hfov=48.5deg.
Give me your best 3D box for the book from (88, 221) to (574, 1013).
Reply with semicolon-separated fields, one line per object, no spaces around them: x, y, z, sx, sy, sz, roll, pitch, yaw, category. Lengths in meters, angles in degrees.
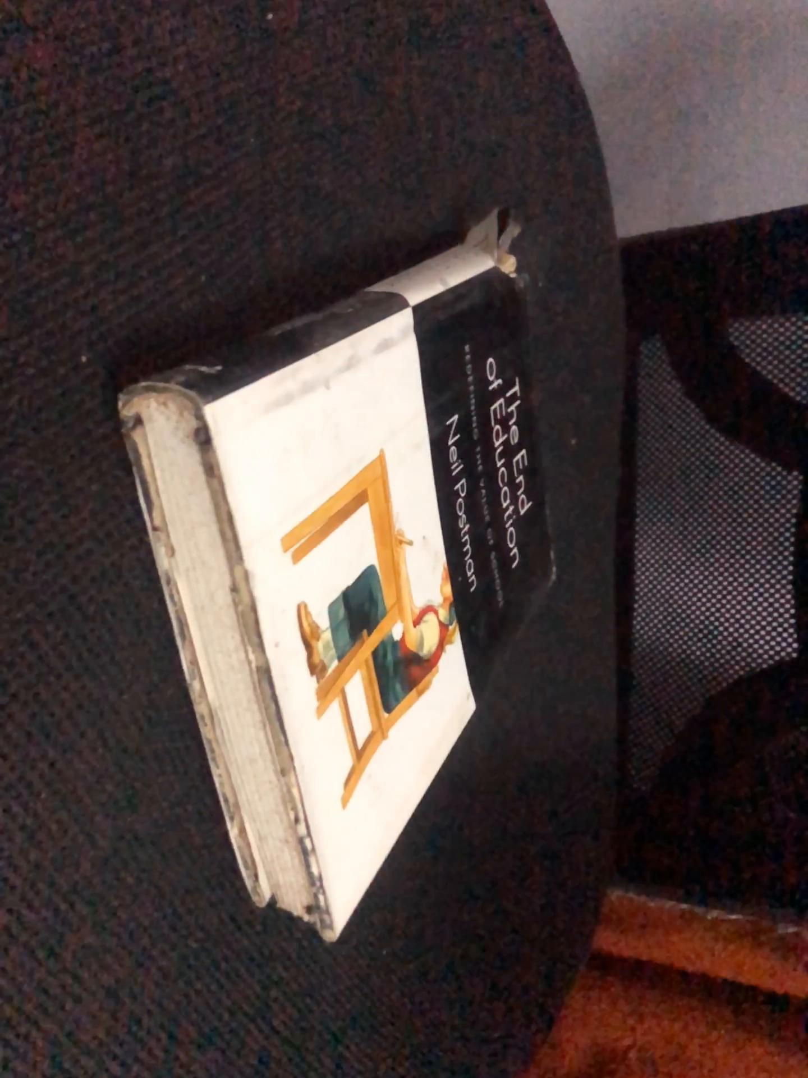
0.010;-0.003;0.322;0.251;0.030;0.180;-46;133;-56;book
